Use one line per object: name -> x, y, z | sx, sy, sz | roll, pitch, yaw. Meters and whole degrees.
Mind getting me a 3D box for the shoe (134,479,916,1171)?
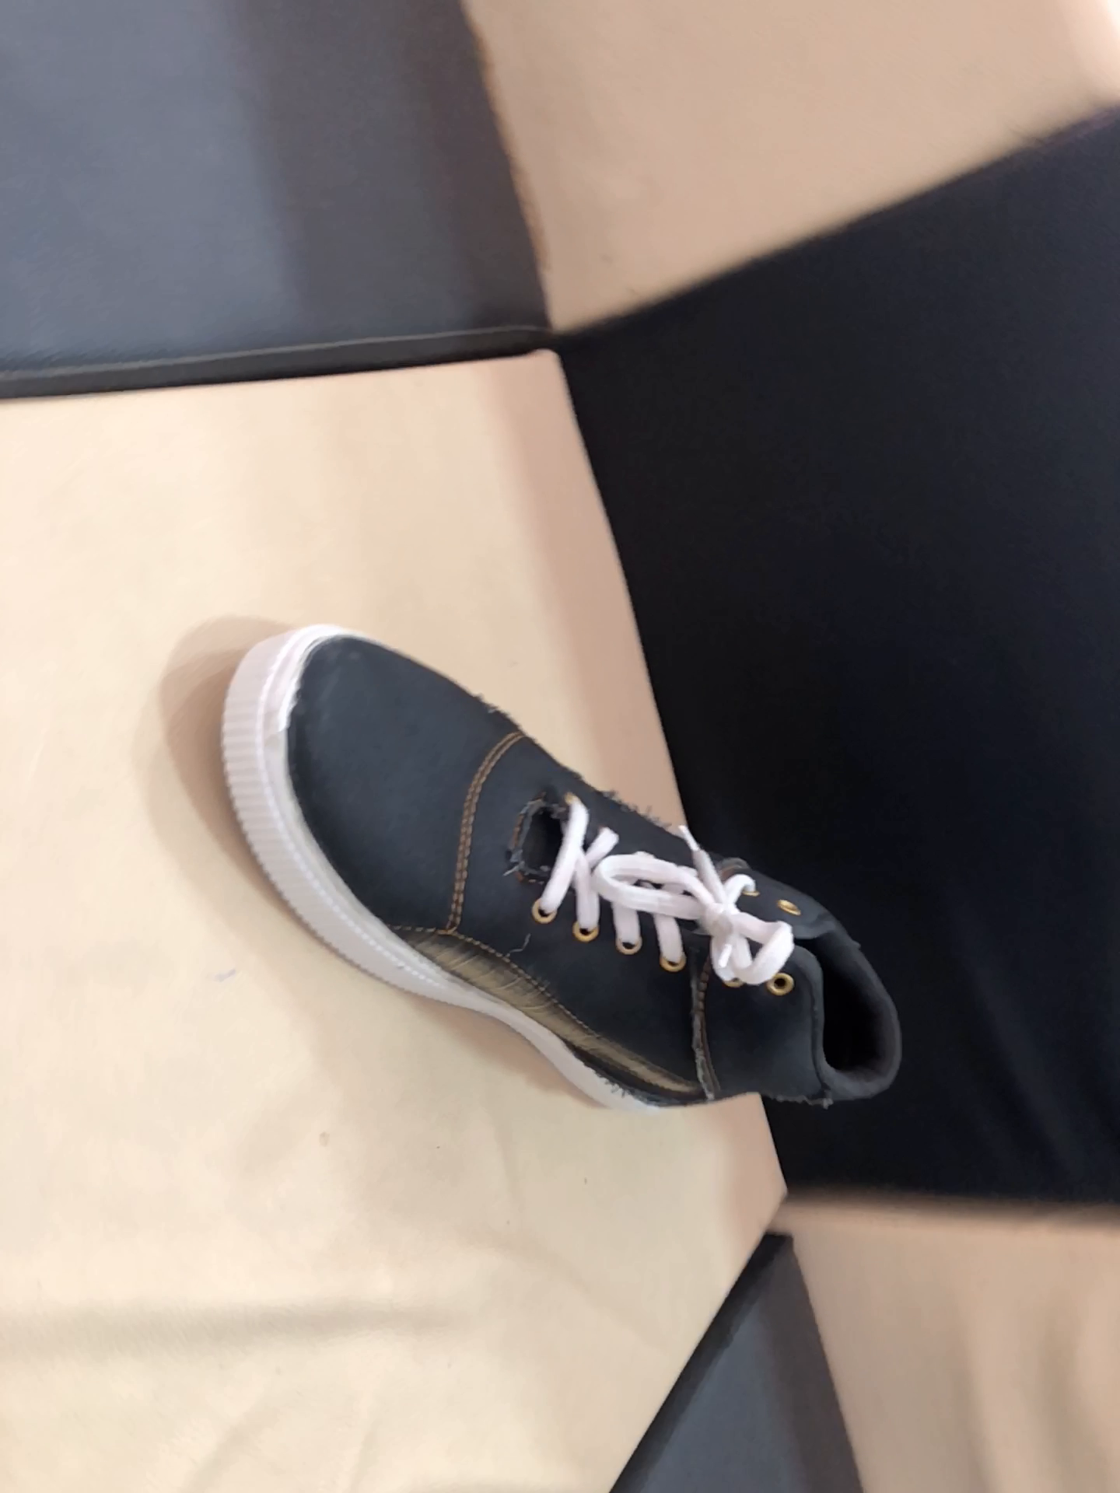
shoe -> 0.018, 0.054, 0.440 | 0.302, 0.109, 0.100 | 44, 49, -42
